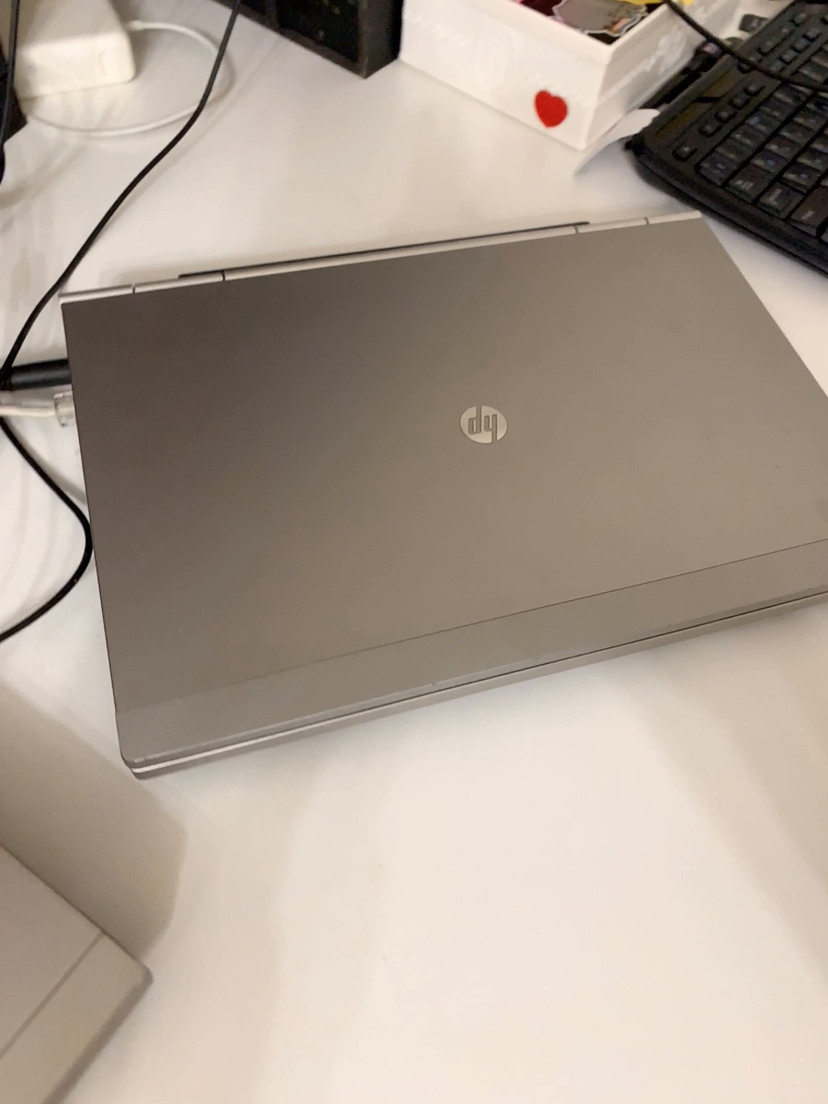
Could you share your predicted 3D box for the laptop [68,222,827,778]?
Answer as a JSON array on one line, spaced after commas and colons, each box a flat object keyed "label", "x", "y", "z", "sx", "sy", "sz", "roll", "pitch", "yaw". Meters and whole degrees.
[{"label": "laptop", "x": 0.029, "y": -0.043, "z": 0.341, "sx": 0.291, "sy": 0.016, "sz": 0.192, "roll": -12, "pitch": 64, "yaw": -14}]
